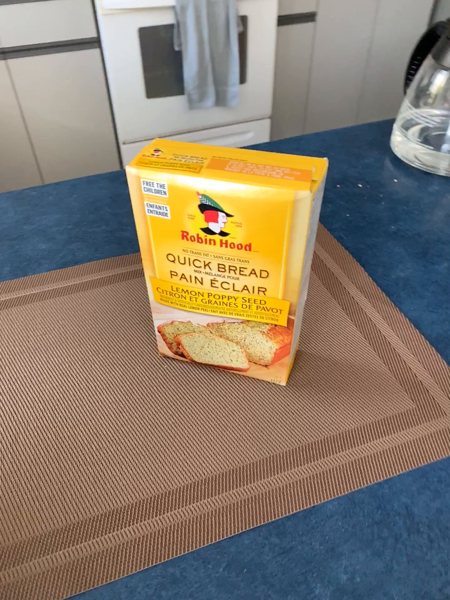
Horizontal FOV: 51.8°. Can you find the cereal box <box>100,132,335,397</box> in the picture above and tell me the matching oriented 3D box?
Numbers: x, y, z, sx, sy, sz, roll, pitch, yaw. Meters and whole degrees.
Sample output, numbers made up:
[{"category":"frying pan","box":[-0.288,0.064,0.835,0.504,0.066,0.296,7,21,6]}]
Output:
[{"category":"cereal box","box":[-0.004,-0.016,0.329,0.130,0.178,0.040,12,45,13]}]
